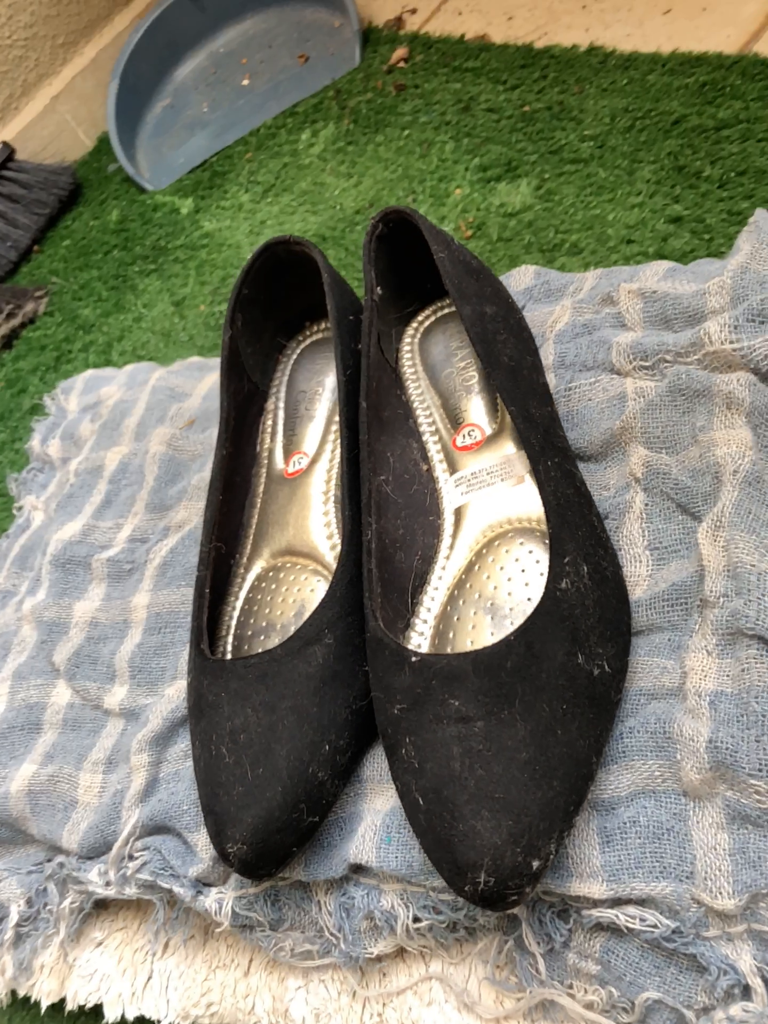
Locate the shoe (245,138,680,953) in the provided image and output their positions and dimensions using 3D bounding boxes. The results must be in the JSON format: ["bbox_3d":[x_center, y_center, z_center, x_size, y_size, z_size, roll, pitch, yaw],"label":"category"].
[{"bbox_3d":[0.020,-0.005,0.302,0.090,0.080,0.271,-18,51,20],"label":"shoe"}]

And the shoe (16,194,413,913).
[{"bbox_3d":[-0.048,0.004,0.342,0.090,0.080,0.271,-14,53,23],"label":"shoe"}]
